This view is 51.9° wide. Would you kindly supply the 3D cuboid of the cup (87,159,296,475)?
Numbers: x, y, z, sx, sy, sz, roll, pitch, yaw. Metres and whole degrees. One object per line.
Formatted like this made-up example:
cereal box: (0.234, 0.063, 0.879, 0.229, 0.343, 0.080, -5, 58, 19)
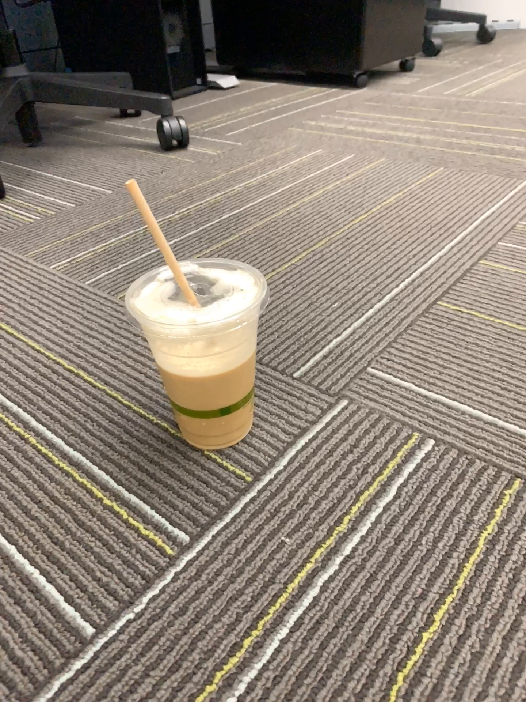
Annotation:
cup: (-0.044, -0.023, 0.376, 0.100, 0.179, 0.091, -16, 36, -16)
